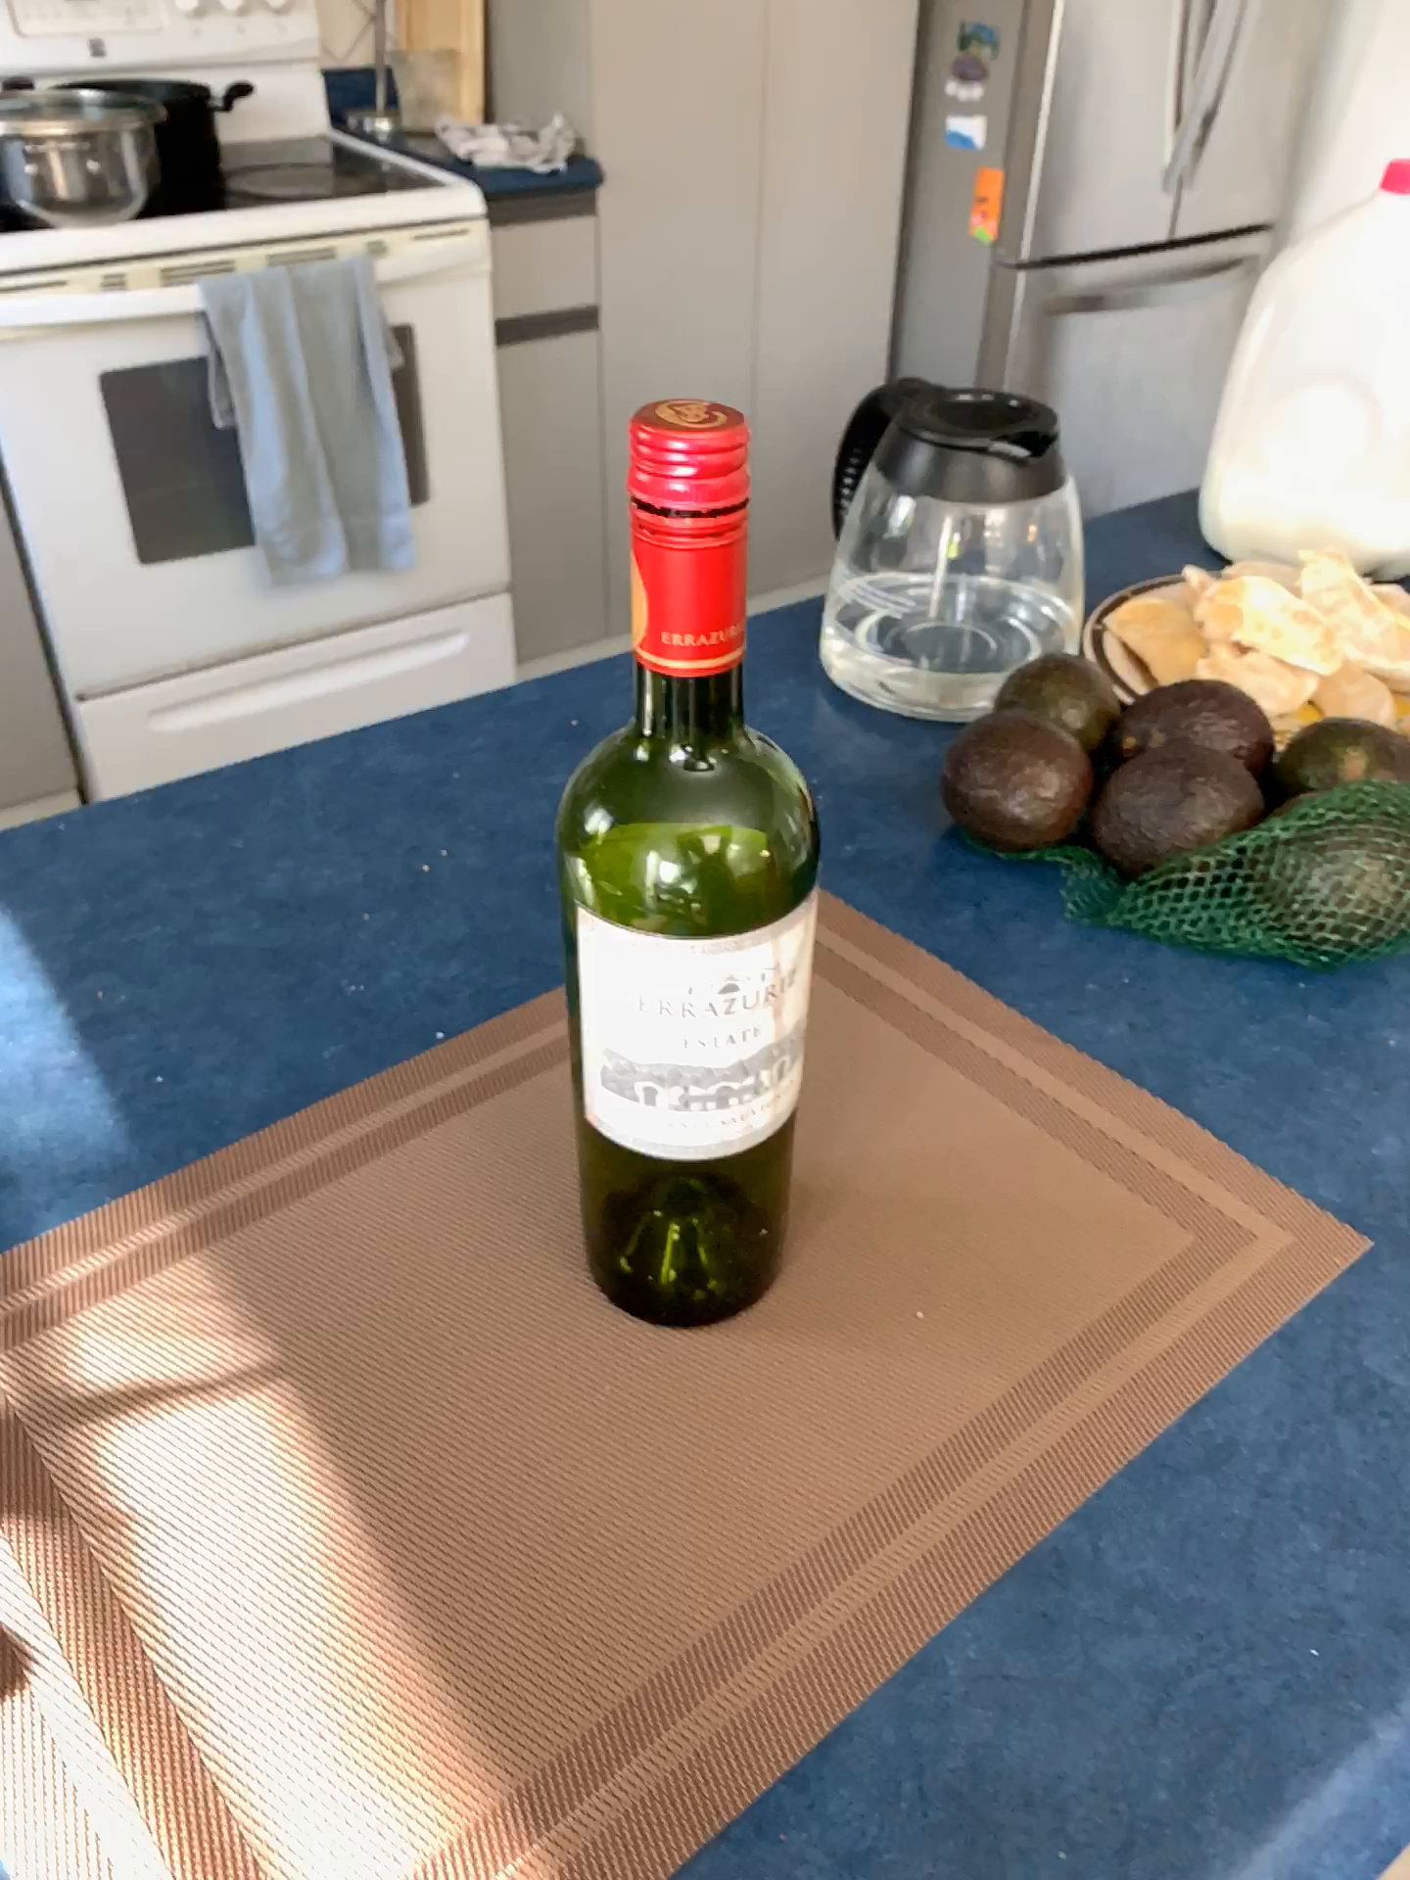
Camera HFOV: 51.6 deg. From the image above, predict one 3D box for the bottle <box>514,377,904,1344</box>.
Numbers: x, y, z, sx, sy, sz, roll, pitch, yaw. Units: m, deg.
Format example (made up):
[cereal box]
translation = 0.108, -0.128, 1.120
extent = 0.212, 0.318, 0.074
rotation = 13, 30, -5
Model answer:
[bottle]
translation = -0.005, -0.009, 0.428
extent = 0.080, 0.277, 0.081
rotation = 1, 36, -1
